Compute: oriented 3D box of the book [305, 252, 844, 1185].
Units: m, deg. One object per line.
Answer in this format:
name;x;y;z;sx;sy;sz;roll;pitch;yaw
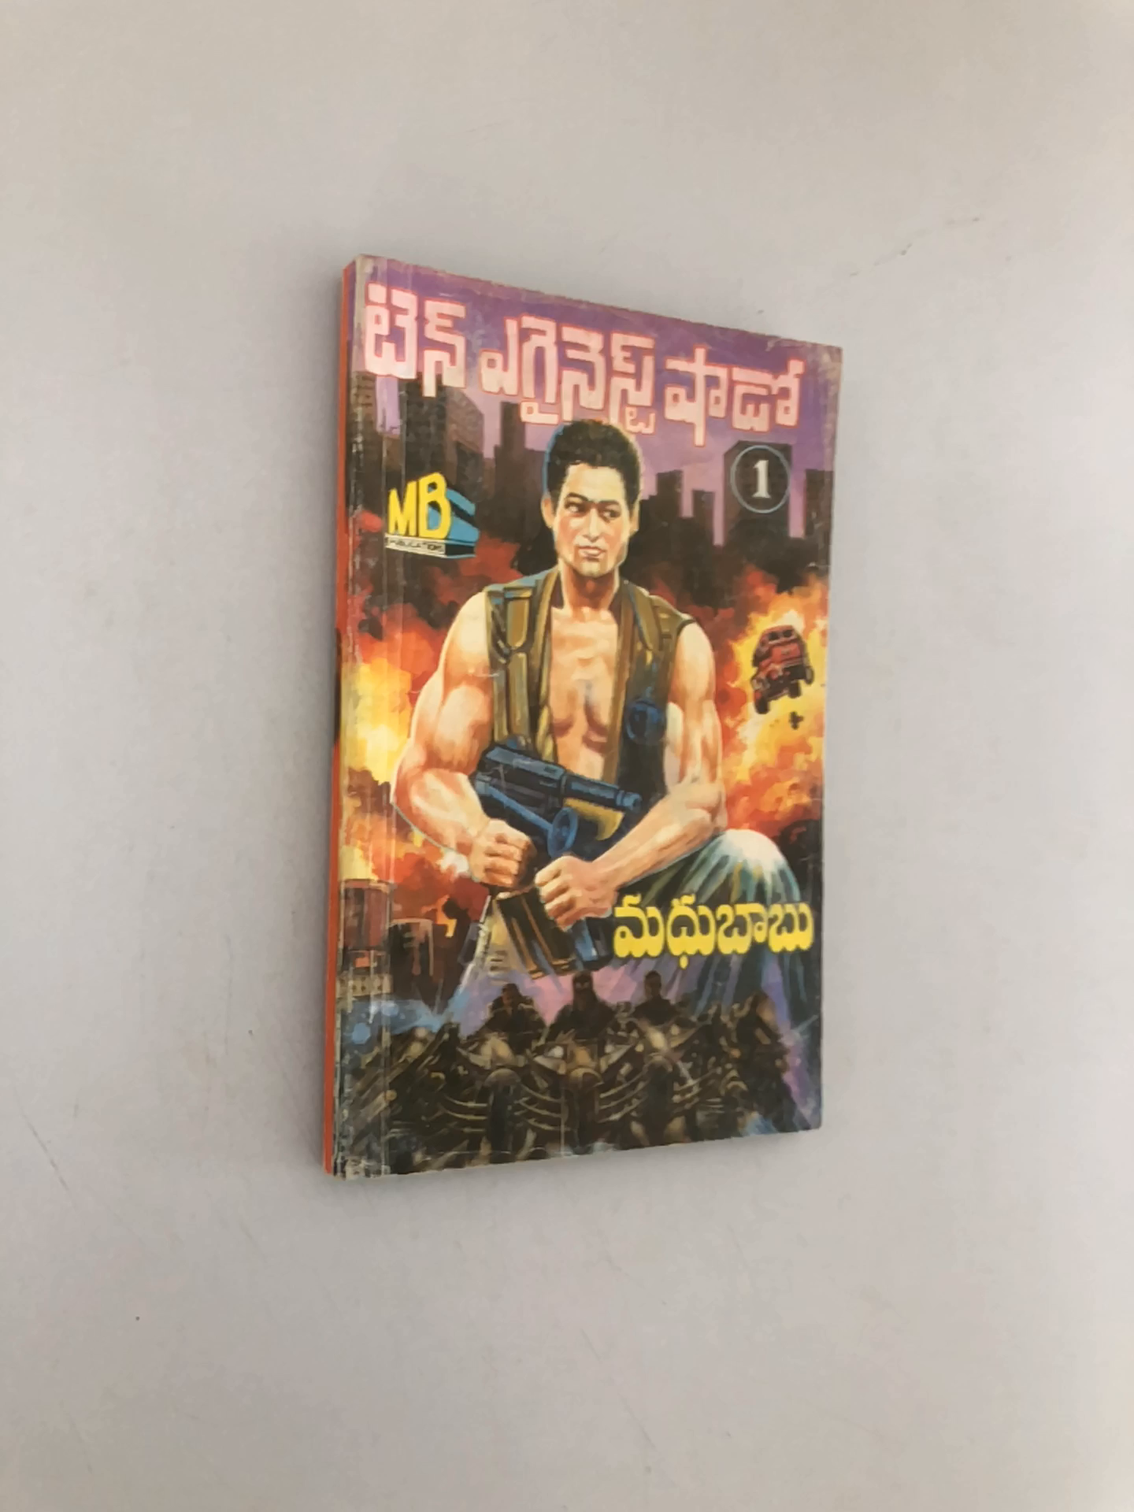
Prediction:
book;0.005;-0.006;0.229;0.100;0.010;0.151;1;87;-23
